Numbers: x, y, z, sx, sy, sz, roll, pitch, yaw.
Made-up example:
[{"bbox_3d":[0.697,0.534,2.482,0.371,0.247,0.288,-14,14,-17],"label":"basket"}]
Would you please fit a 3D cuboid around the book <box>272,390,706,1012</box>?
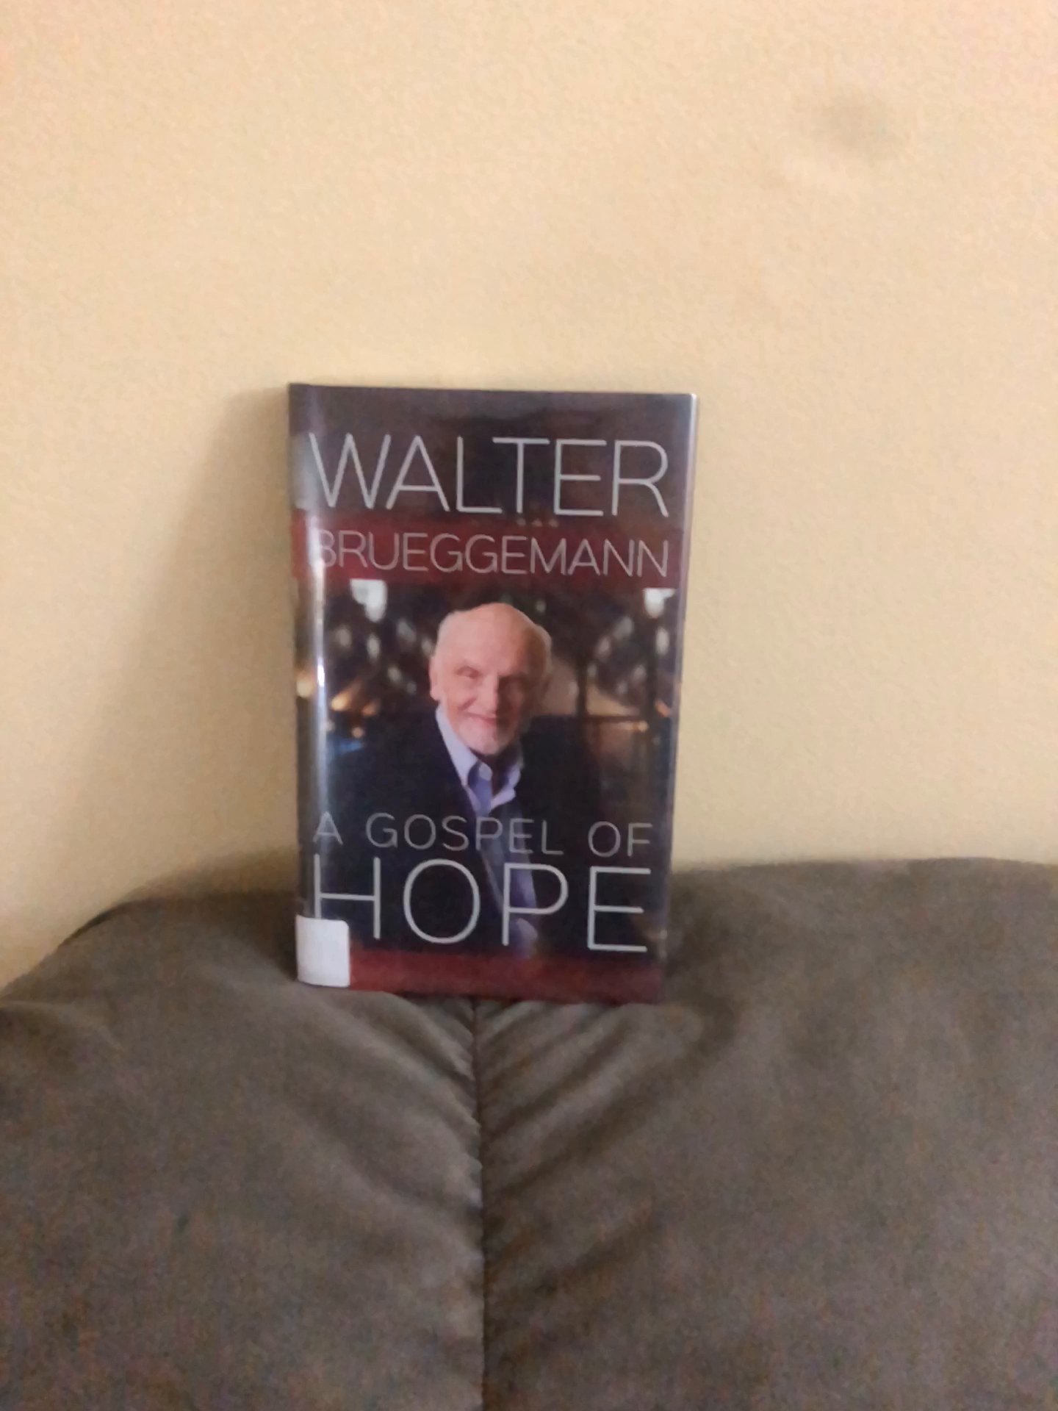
[{"bbox_3d":[-0.013,-0.001,0.409,0.140,0.210,0.027,2,11,6],"label":"book"}]
